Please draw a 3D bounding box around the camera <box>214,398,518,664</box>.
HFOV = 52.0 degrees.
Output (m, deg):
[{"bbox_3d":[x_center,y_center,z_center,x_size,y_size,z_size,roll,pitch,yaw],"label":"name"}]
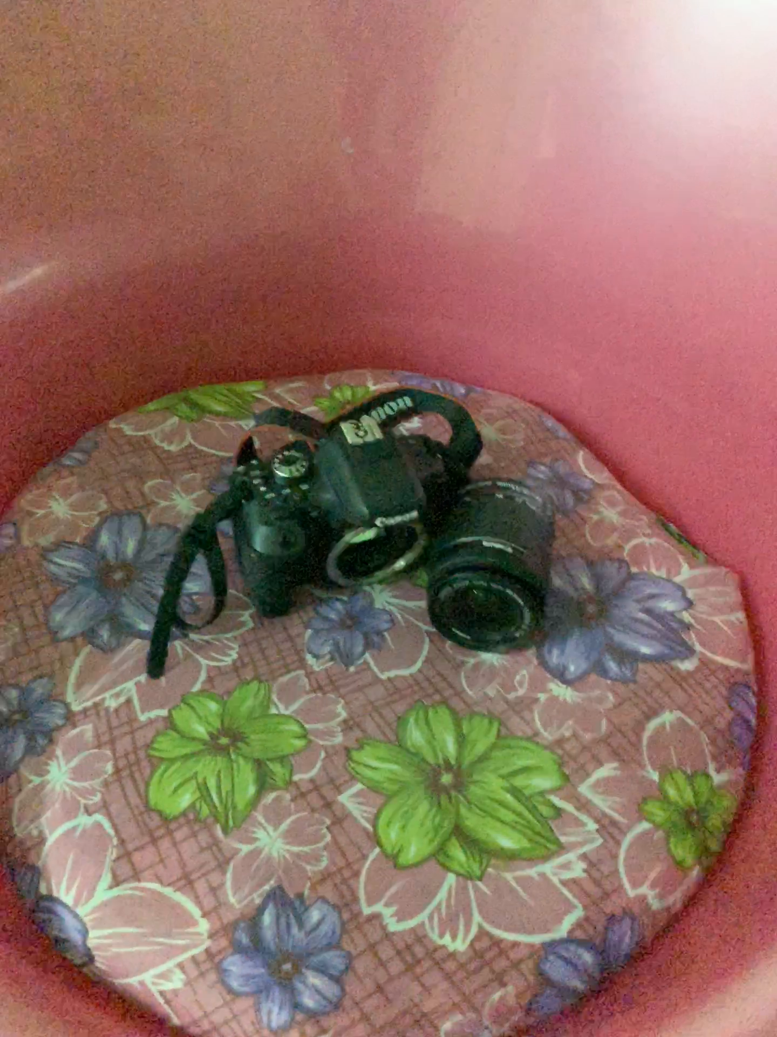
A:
[{"bbox_3d":[-0.014,0.005,0.463,0.143,0.078,0.086,-18,55,-14],"label":"camera"}]
